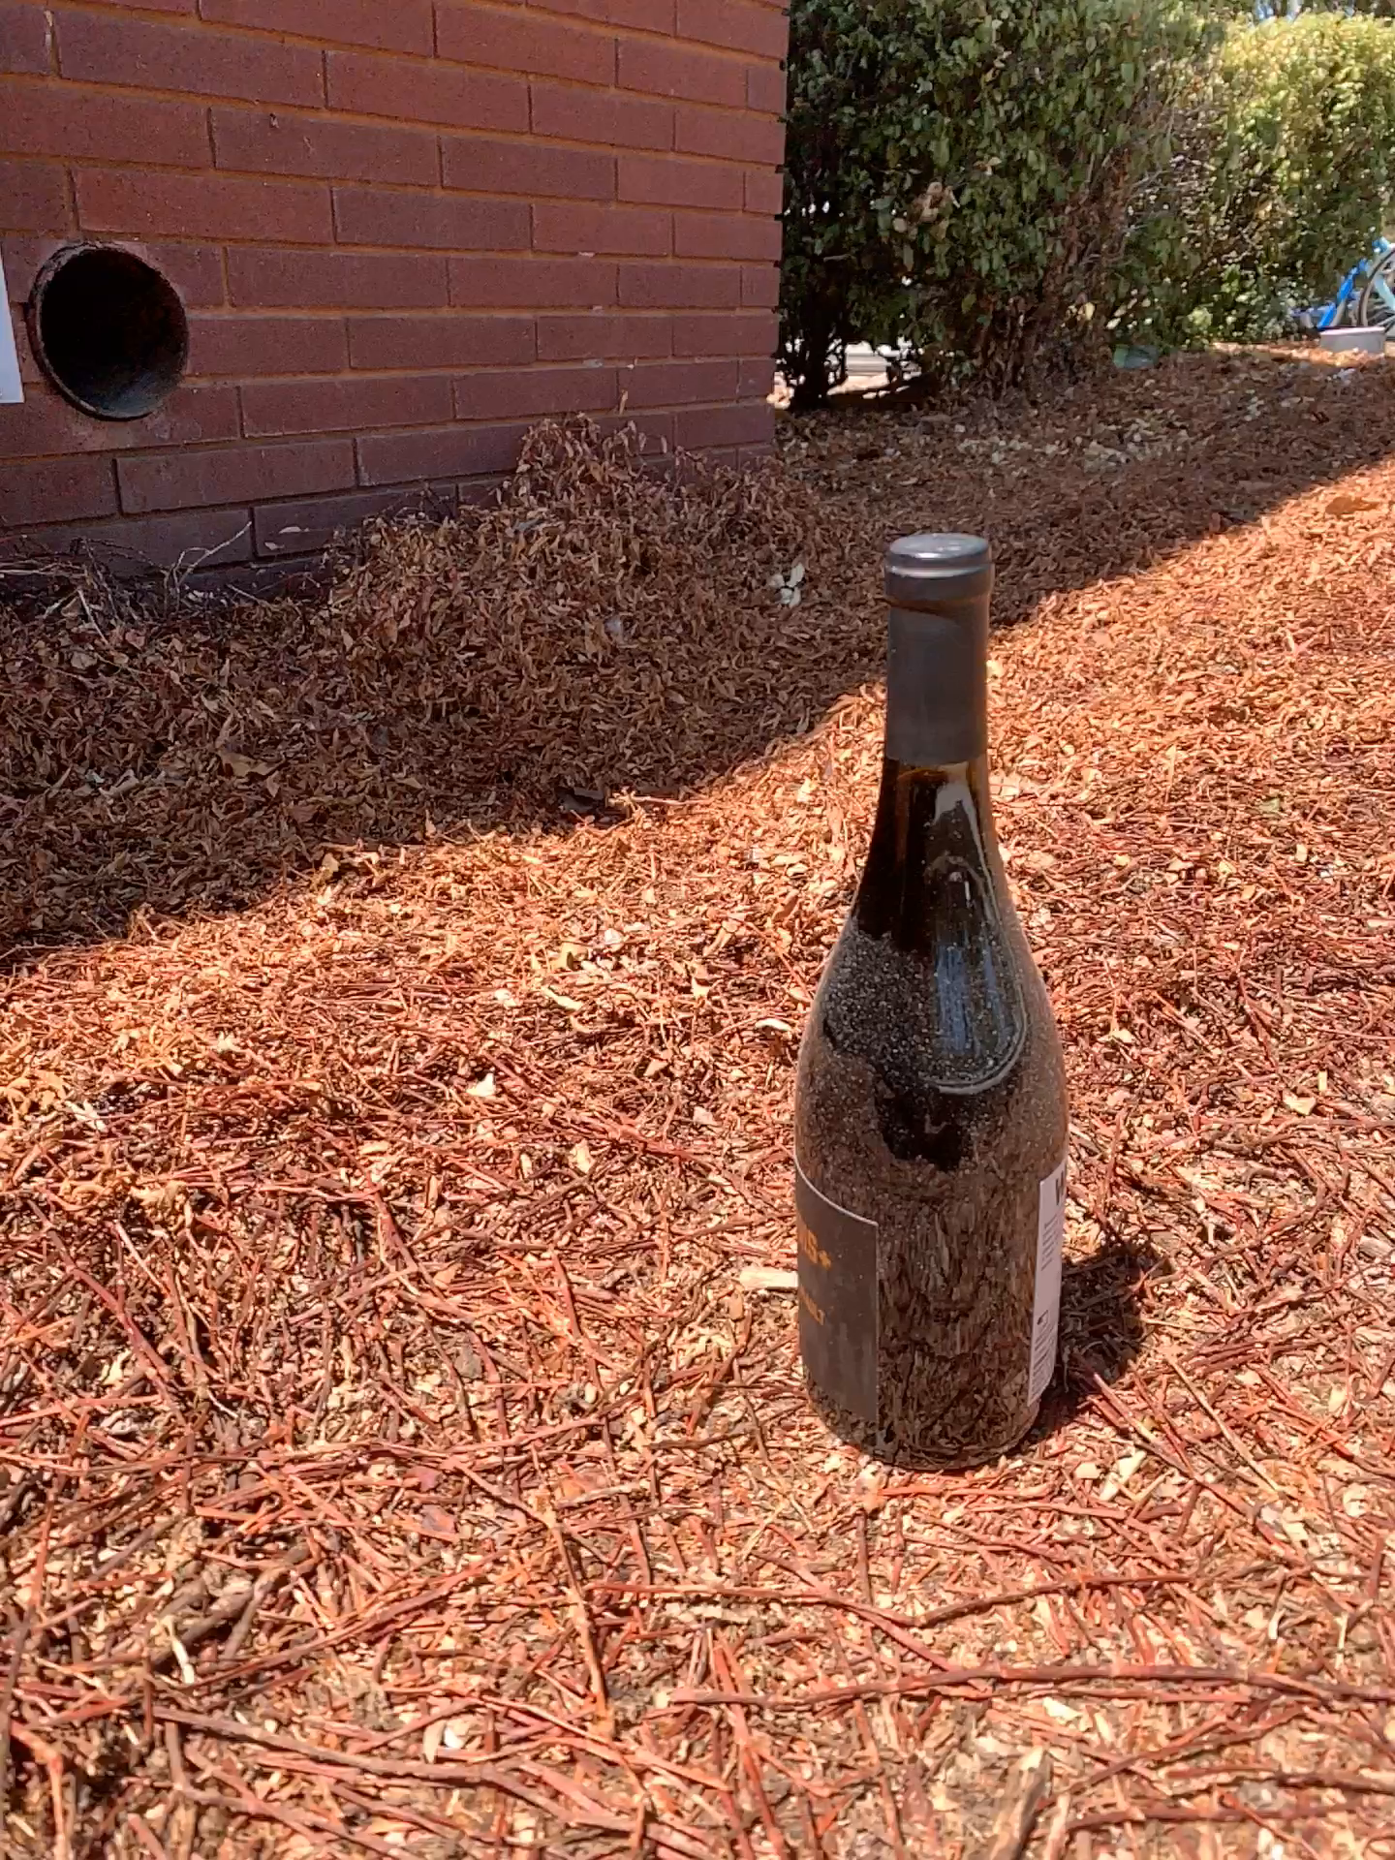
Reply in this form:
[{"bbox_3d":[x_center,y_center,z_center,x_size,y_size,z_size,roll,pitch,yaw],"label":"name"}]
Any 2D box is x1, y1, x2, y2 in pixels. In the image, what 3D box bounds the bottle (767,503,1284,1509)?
[{"bbox_3d":[0.083,0.024,0.425,0.090,0.279,0.090,1,23,0],"label":"bottle"}]
